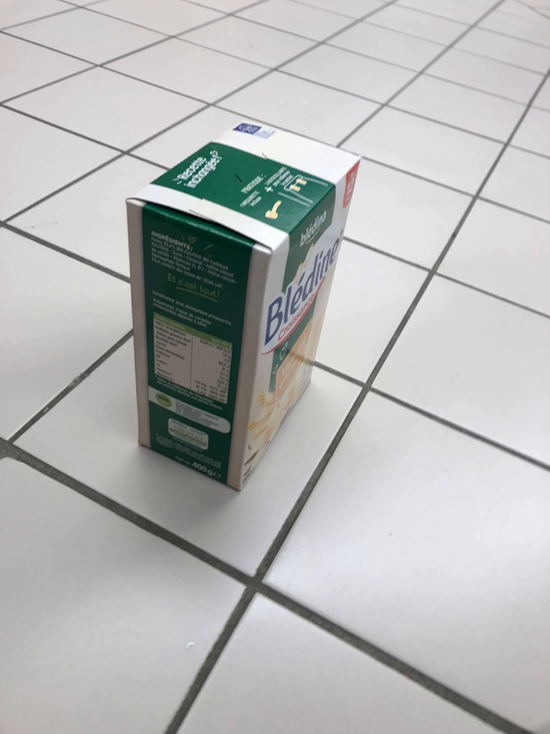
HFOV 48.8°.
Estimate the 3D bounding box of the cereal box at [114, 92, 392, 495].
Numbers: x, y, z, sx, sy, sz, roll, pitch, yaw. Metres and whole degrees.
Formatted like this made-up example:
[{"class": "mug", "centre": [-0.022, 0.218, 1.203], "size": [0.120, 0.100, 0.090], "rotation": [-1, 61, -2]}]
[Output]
[{"class": "cereal box", "centre": [-0.016, -0.046, 0.399], "size": [0.100, 0.199, 0.141], "rotation": [22, 44, 14]}]
